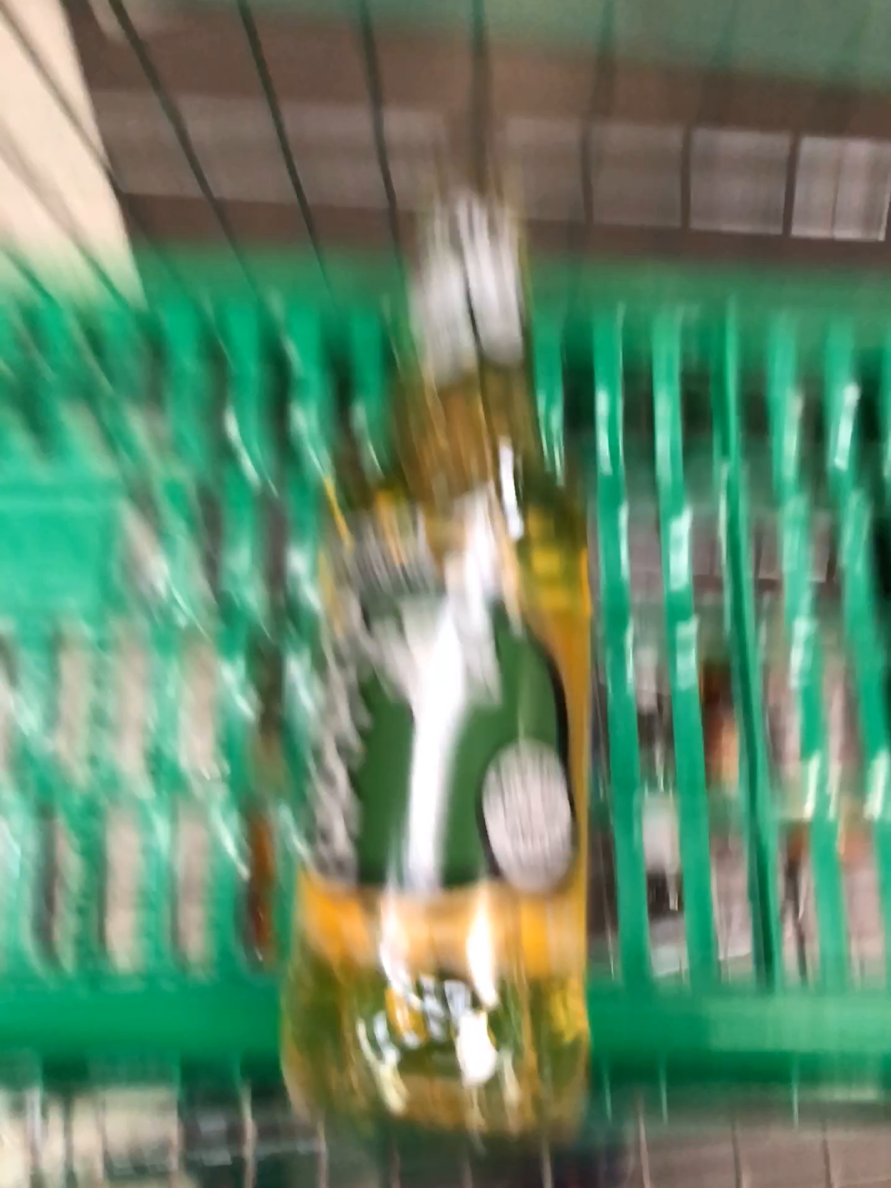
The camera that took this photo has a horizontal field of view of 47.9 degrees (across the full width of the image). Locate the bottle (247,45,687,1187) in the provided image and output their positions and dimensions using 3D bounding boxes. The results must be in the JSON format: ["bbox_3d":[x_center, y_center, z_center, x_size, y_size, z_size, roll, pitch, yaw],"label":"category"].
[{"bbox_3d":[0.007,0.000,0.215,0.070,0.060,0.220,3,76,-1],"label":"bottle"}]
